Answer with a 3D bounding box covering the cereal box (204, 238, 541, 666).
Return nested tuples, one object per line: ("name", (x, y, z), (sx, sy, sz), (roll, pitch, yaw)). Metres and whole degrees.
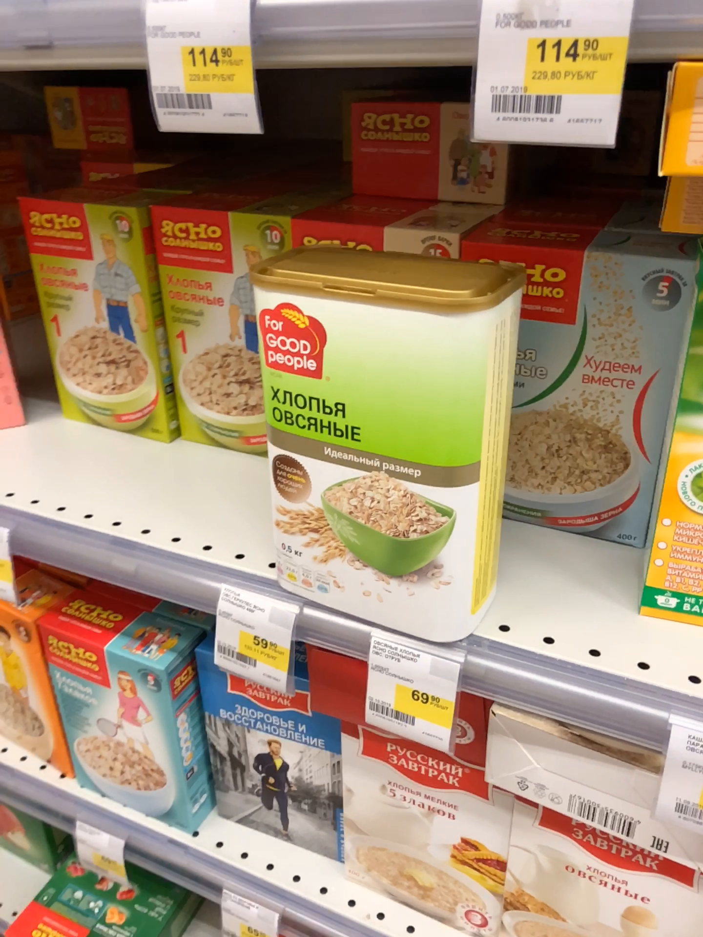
("cereal box", (0.013, -0.016, 0.427), (0.140, 0.189, 0.090), (15, 32, 27))
